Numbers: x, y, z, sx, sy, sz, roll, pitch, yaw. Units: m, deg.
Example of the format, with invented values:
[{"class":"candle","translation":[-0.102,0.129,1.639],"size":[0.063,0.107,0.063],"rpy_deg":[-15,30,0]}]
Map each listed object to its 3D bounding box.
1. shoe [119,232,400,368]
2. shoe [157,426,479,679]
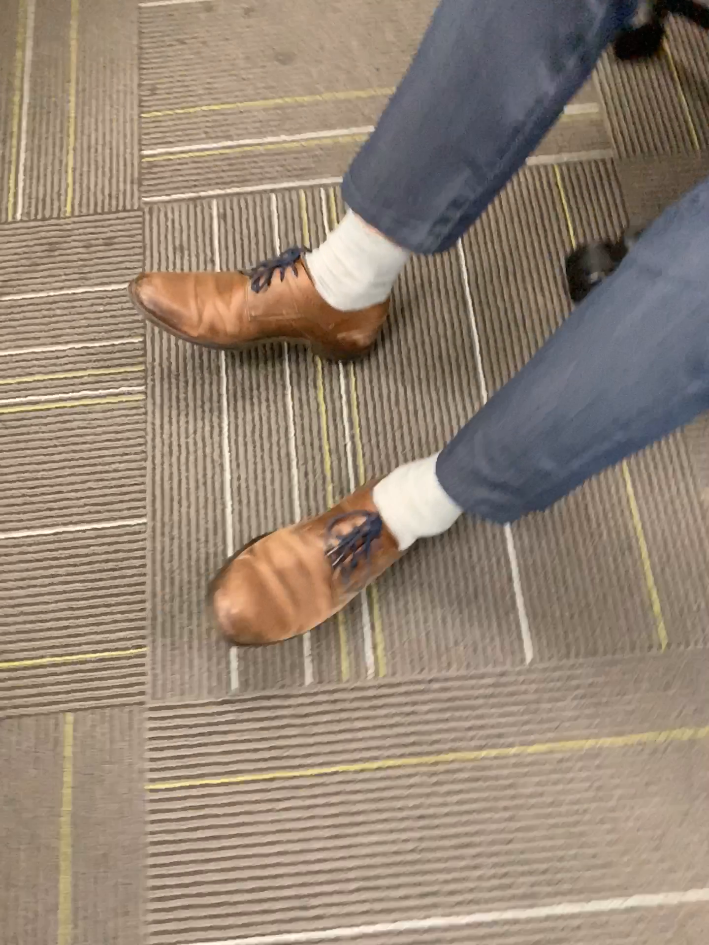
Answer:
[{"class":"shoe","translation":[-0.105,-0.182,0.774],"size":[0.281,0.074,0.103],"rpy_deg":[0,50,-18]},{"class":"shoe","translation":[-0.030,0.071,0.687],"size":[0.271,0.084,0.121],"rpy_deg":[-26,85,-28]}]
